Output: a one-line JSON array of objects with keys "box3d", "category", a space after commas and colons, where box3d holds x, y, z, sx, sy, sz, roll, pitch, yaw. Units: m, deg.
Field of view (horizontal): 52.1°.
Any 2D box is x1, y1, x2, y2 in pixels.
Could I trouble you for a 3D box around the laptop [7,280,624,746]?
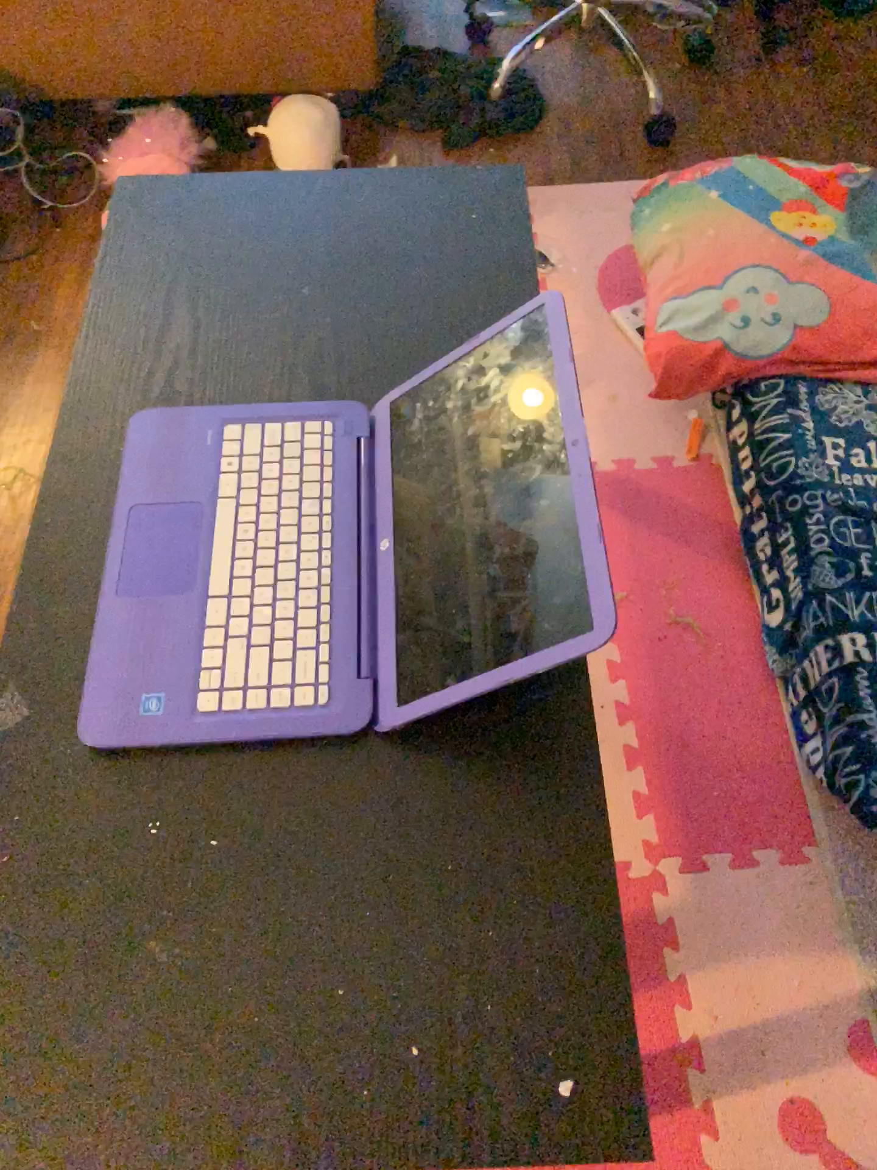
[{"box3d": [-0.085, -0.067, 0.723, 0.397, 0.132, 0.341, -3, 59, 0], "category": "laptop"}]
